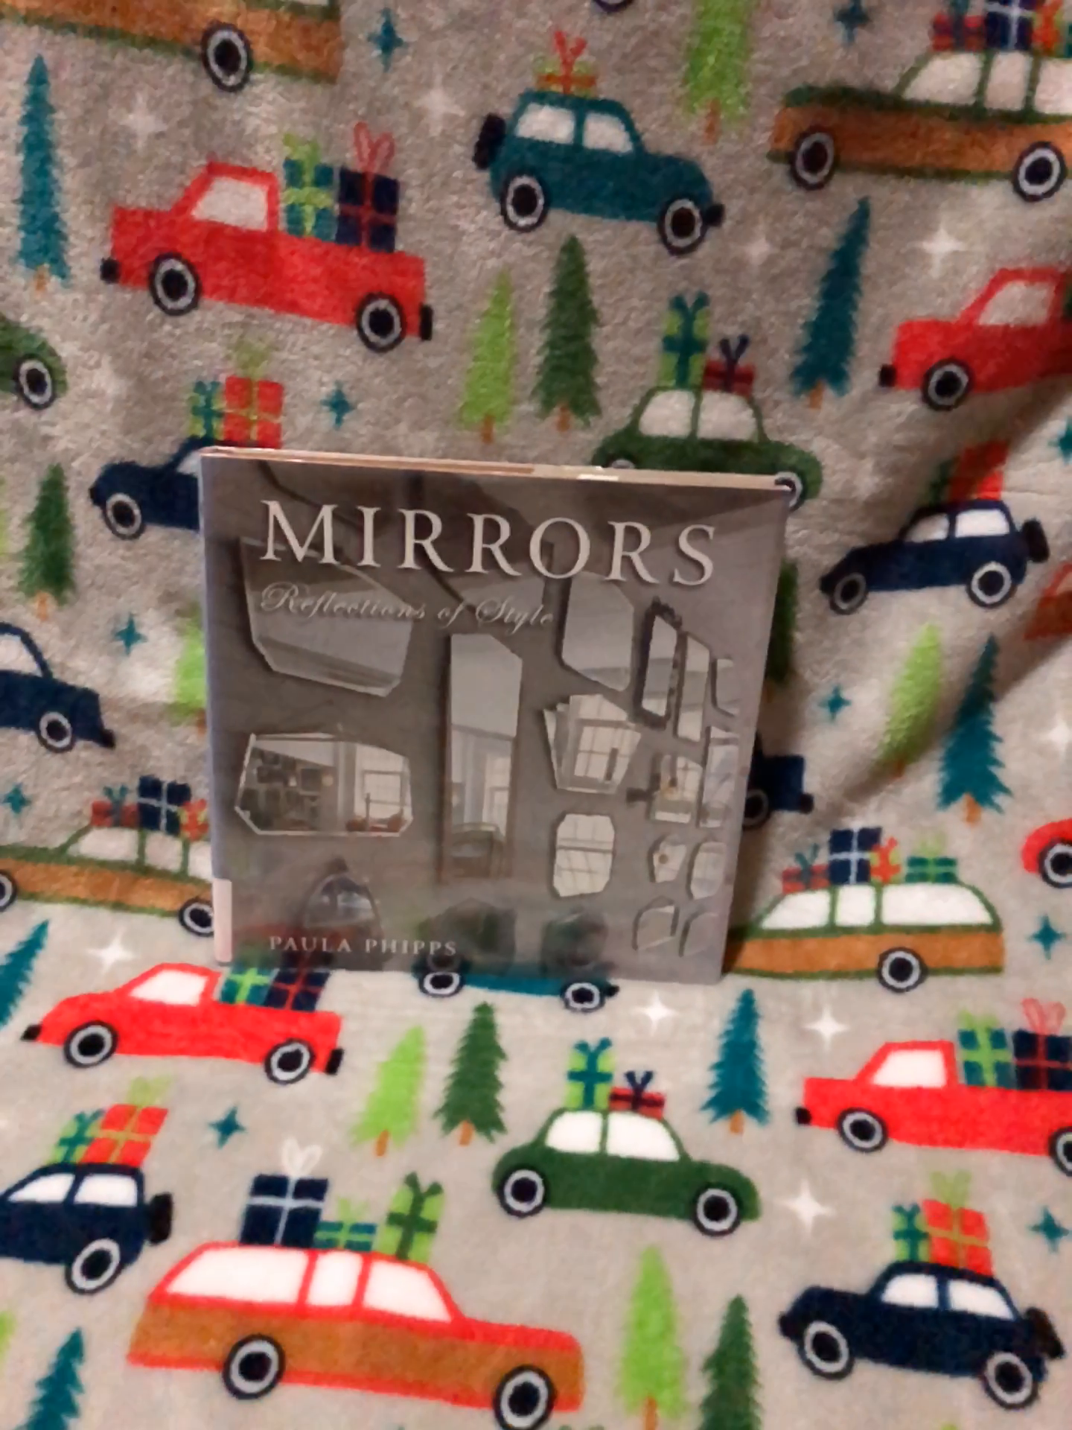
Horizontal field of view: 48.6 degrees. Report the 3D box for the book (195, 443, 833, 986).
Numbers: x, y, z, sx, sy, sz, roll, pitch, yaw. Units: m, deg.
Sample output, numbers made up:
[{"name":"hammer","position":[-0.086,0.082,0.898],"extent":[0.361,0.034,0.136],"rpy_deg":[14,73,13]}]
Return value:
[{"name":"book","position":[-0.013,0.007,0.466],"extent":[0.222,0.208,0.030],"rpy_deg":[2,22,-3]}]
